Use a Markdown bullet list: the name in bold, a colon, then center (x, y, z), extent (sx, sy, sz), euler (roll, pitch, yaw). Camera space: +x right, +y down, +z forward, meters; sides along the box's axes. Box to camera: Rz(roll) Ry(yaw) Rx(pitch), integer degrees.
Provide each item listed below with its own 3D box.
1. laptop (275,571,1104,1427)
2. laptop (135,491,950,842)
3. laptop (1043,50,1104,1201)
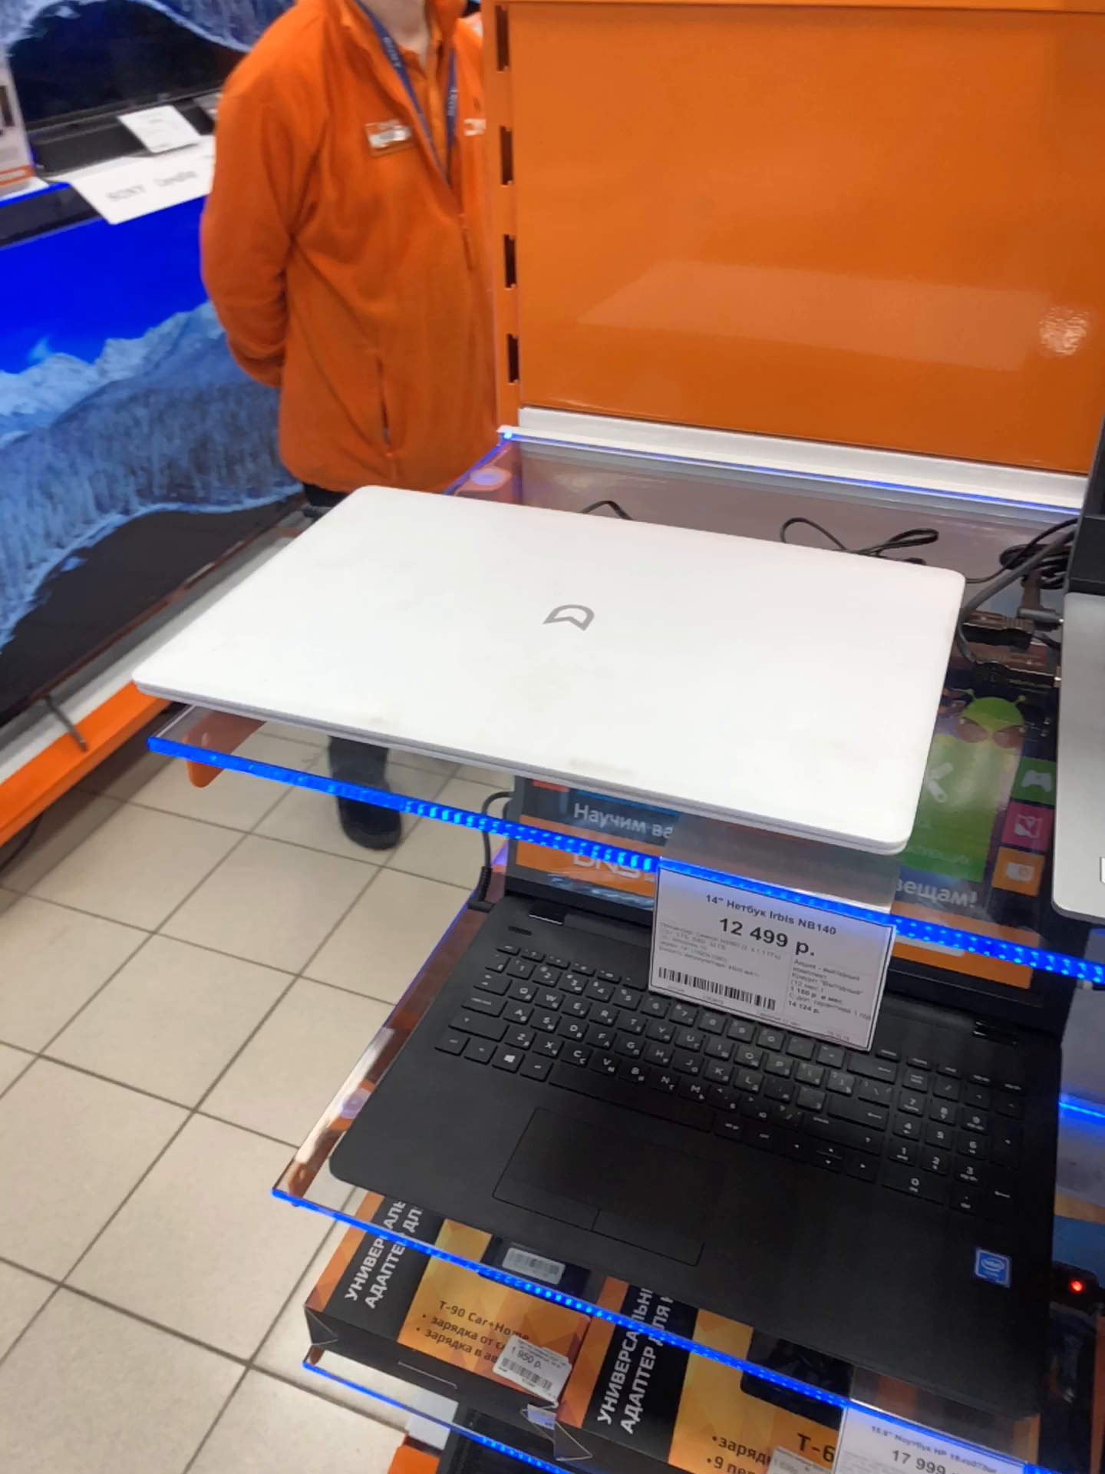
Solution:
- **laptop**: center (0.099, 0.102, 0.671), extent (0.364, 0.228, 0.307), euler (12, 36, 20)
- **laptop**: center (0.007, -0.050, 0.548), extent (0.313, 0.002, 0.212), euler (11, 36, 18)
- **laptop**: center (0.369, -0.079, 0.388), extent (0.344, 0.224, 0.280), euler (10, 35, 16)
